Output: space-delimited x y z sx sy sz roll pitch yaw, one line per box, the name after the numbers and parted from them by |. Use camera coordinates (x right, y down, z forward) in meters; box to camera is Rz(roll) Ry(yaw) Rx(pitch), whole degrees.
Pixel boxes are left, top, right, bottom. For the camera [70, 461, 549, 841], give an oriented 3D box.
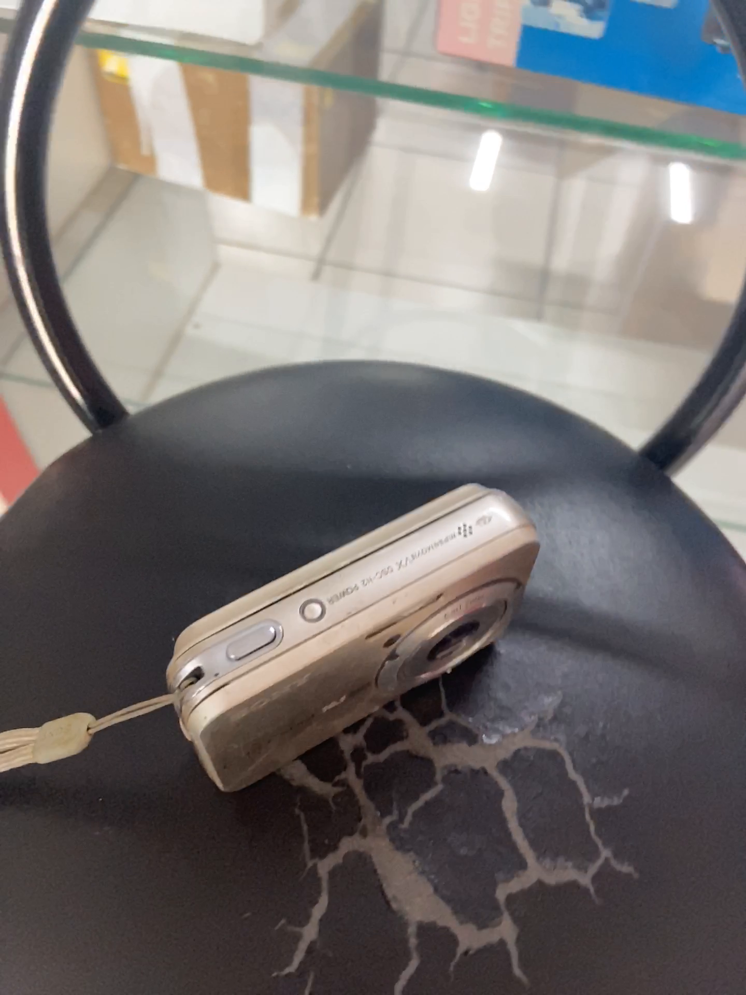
-0.013 0.040 0.206 0.110 0.060 0.030 -24 59 -20 | camera
